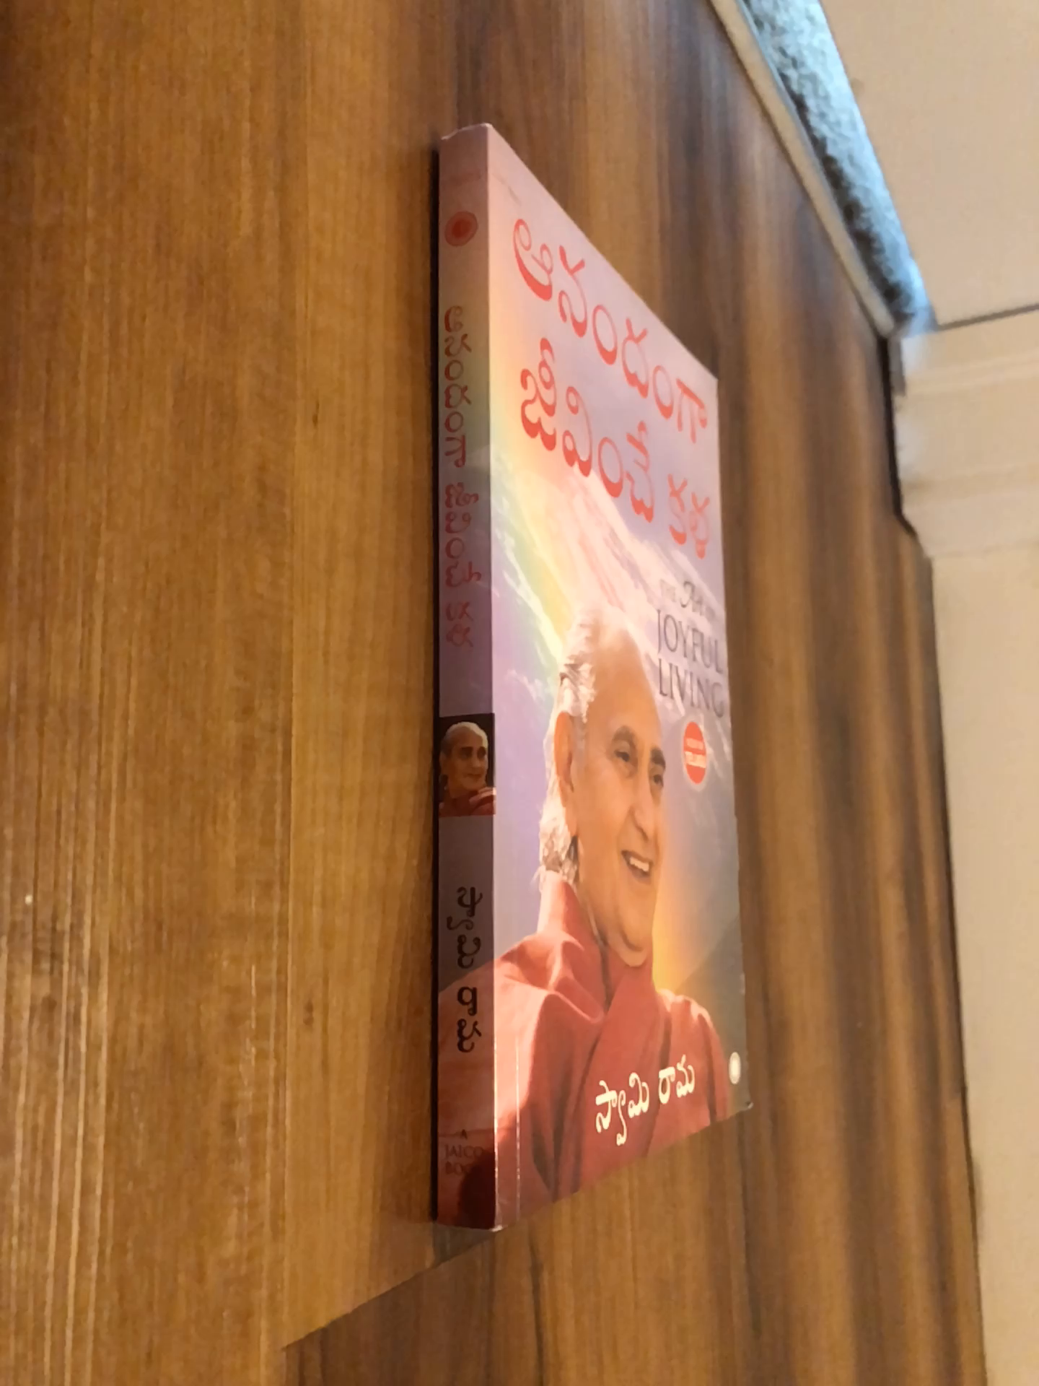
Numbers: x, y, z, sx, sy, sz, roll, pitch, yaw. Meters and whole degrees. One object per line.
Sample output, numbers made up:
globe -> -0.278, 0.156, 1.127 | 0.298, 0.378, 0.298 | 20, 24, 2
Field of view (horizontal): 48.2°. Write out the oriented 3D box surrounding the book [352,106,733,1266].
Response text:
book -> 0.017, 0.001, 0.283 | 0.145, 0.020, 0.219 | 17, 71, -59
